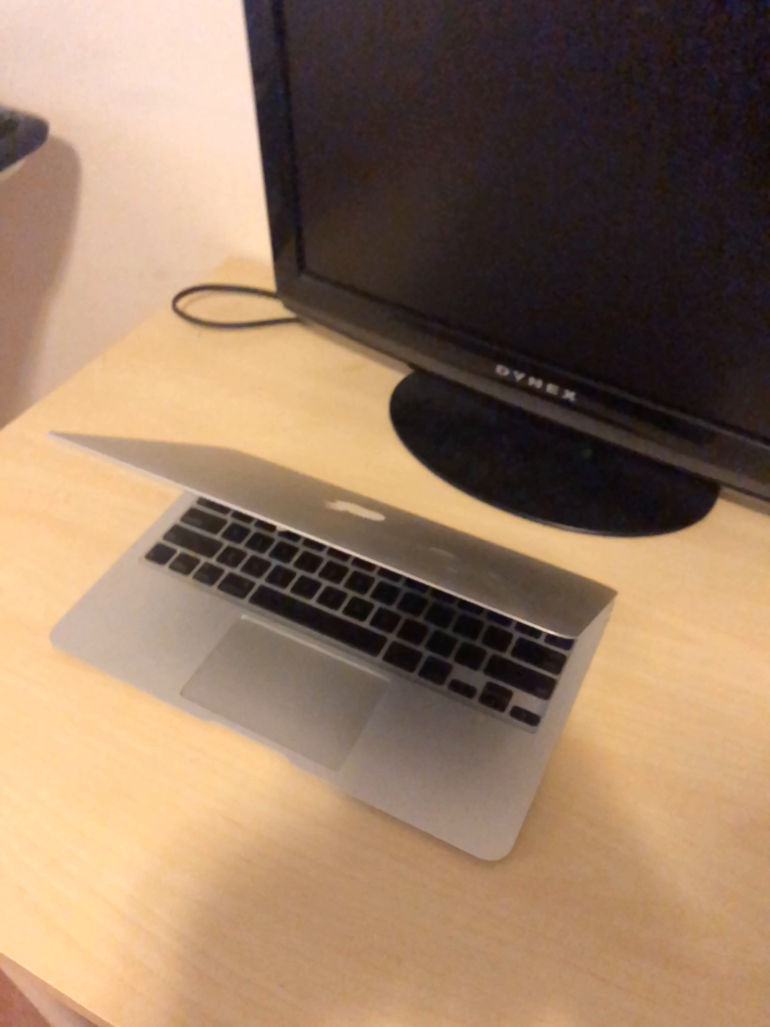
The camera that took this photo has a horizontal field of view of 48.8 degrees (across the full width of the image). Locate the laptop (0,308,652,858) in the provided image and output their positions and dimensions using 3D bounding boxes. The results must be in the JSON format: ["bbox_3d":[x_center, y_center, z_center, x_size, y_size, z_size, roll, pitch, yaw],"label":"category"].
[{"bbox_3d":[-0.029,0.018,0.480,0.287,0.127,0.190,20,48,20],"label":"laptop"}]
